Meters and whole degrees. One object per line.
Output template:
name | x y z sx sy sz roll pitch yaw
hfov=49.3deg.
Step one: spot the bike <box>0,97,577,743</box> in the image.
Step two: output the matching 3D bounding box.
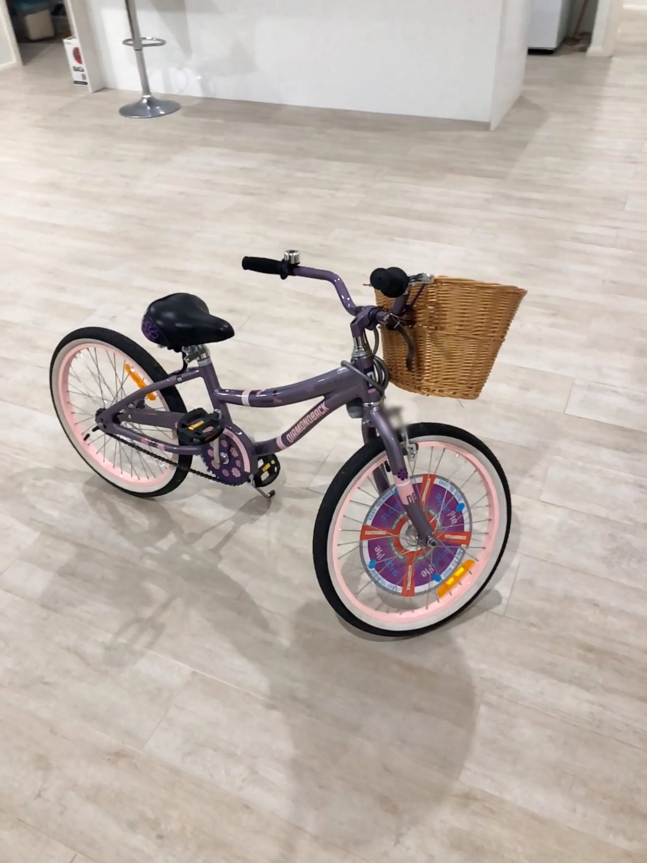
bike | -0.165 -0.081 1.623 1.215 0.877 0.751 16 44 15
